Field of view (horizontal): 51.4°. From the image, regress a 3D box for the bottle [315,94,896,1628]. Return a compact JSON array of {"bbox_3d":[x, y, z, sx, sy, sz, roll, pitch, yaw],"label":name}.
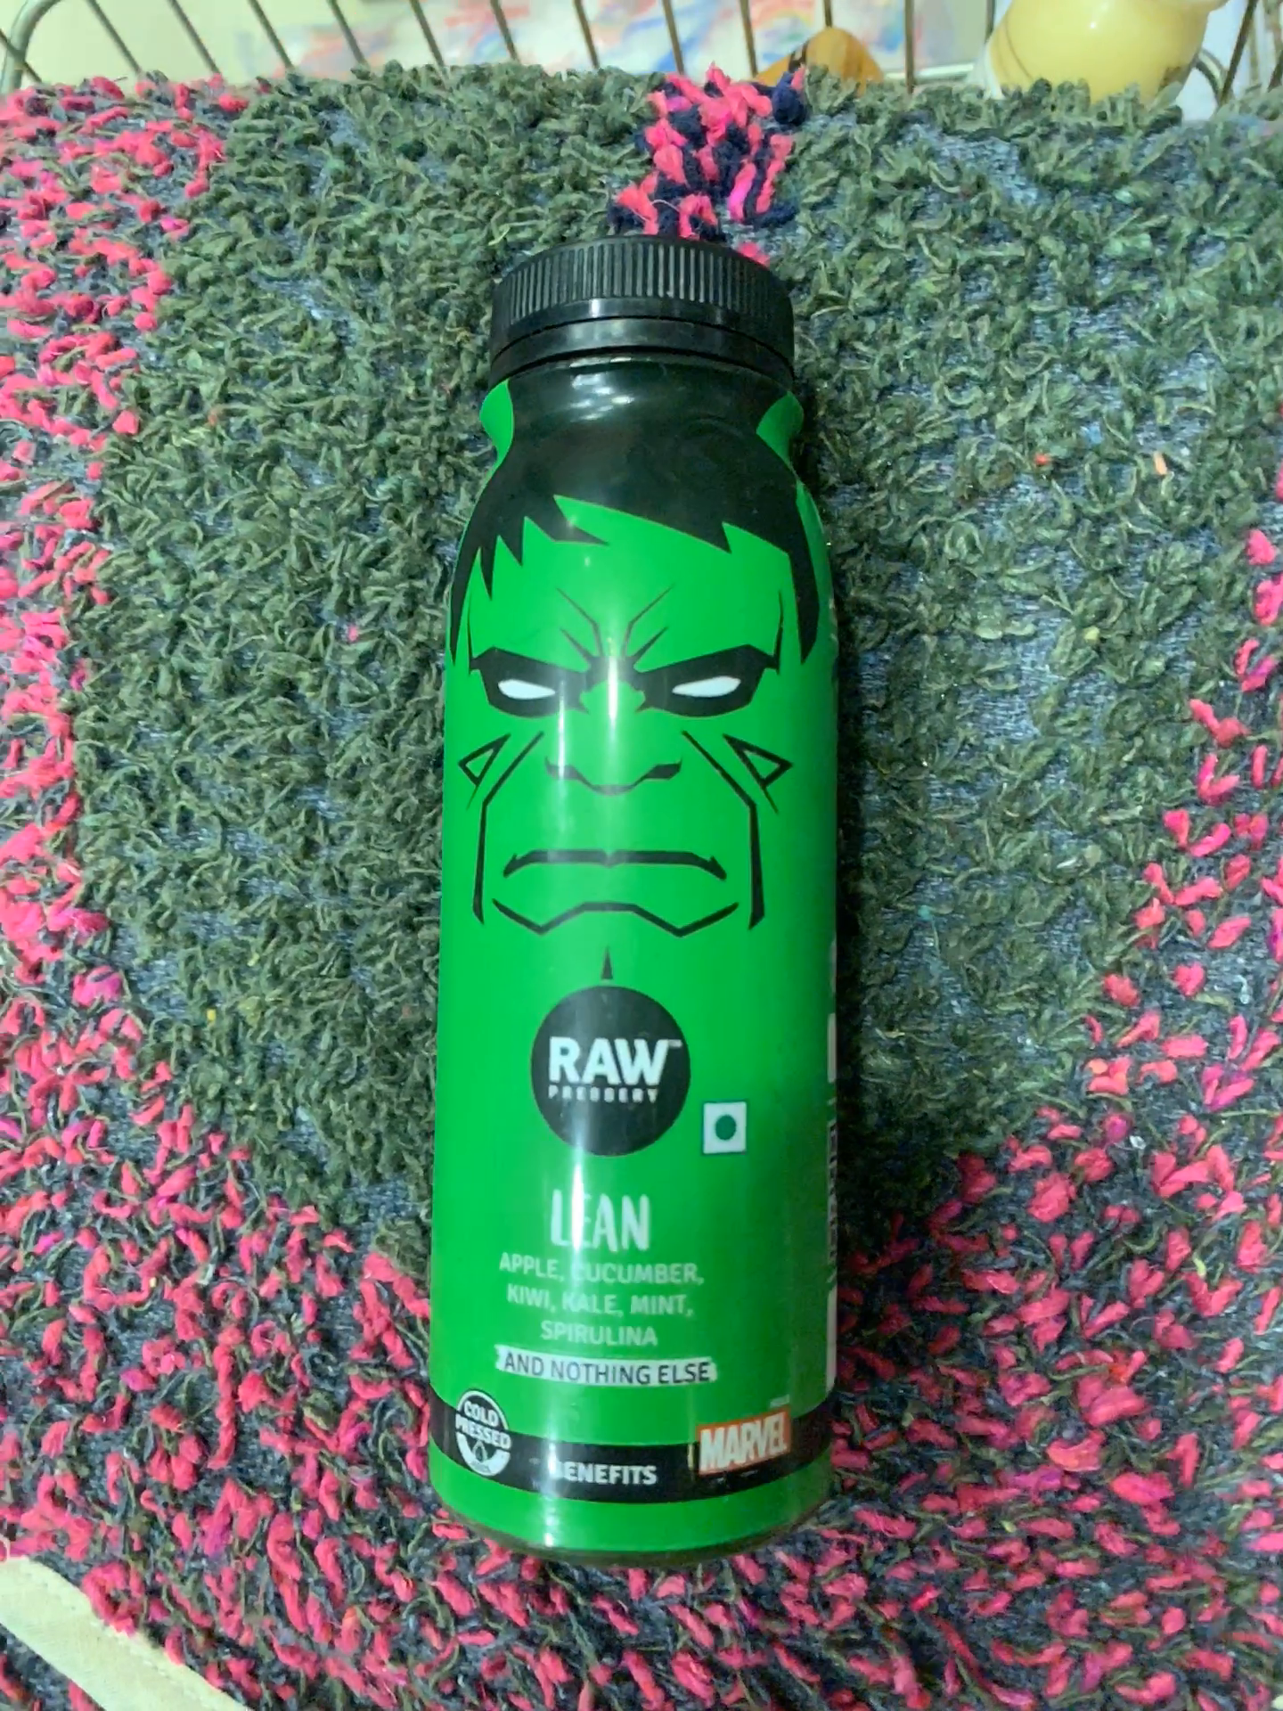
[{"bbox_3d":[0.000,-0.001,0.170,0.060,0.050,0.160,0,84,13],"label":"bottle"}]
